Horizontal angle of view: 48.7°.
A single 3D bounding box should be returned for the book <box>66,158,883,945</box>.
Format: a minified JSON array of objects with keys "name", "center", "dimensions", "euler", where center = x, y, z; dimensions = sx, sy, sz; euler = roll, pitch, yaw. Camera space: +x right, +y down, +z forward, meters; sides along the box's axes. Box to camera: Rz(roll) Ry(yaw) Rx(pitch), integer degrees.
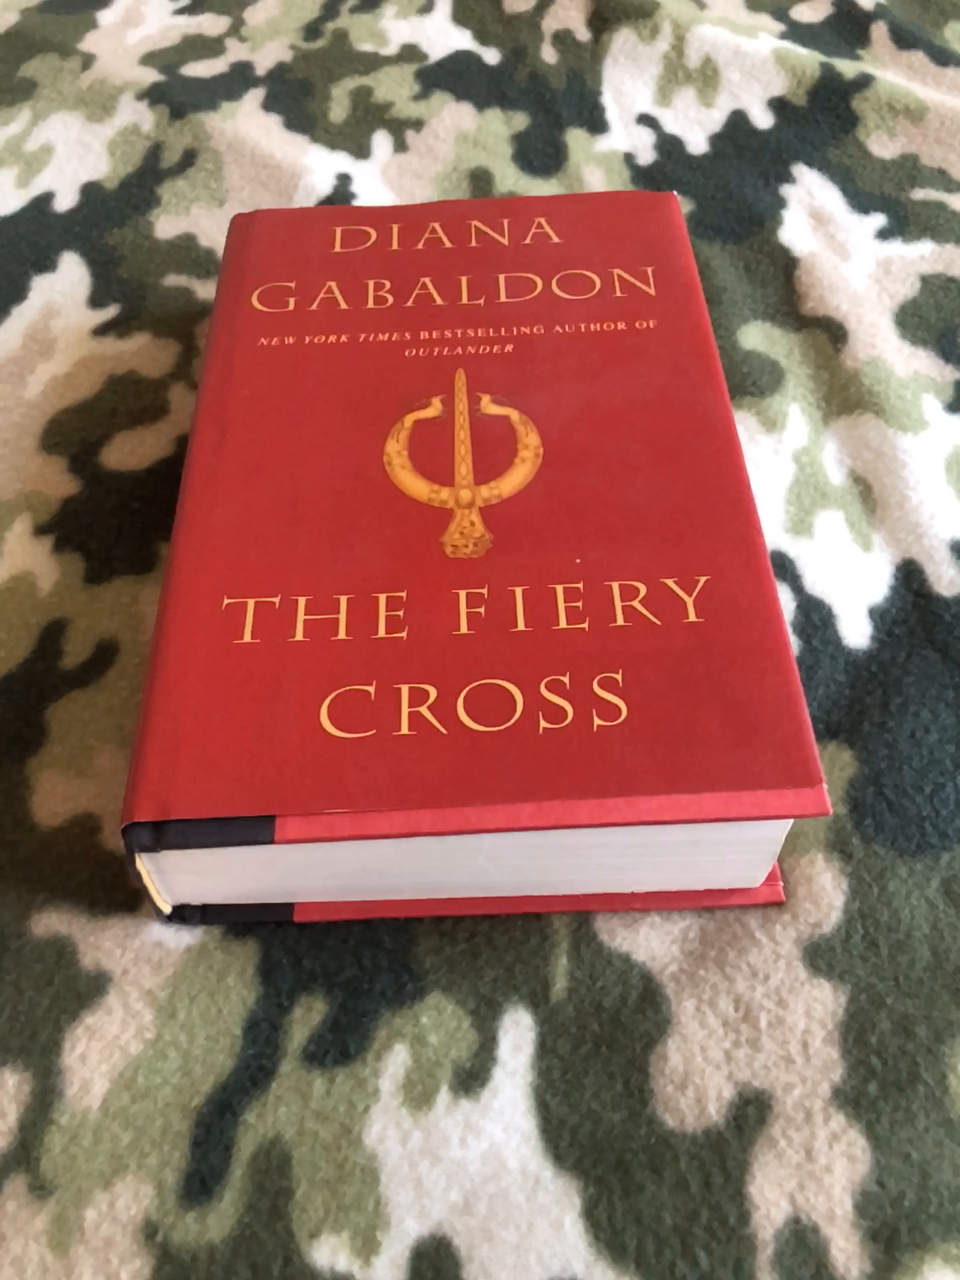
[{"name":"book","center":[-0.005,-0.045,0.323],"dimensions":[0.170,0.070,0.251],"euler":[-1,54,-1]}]
